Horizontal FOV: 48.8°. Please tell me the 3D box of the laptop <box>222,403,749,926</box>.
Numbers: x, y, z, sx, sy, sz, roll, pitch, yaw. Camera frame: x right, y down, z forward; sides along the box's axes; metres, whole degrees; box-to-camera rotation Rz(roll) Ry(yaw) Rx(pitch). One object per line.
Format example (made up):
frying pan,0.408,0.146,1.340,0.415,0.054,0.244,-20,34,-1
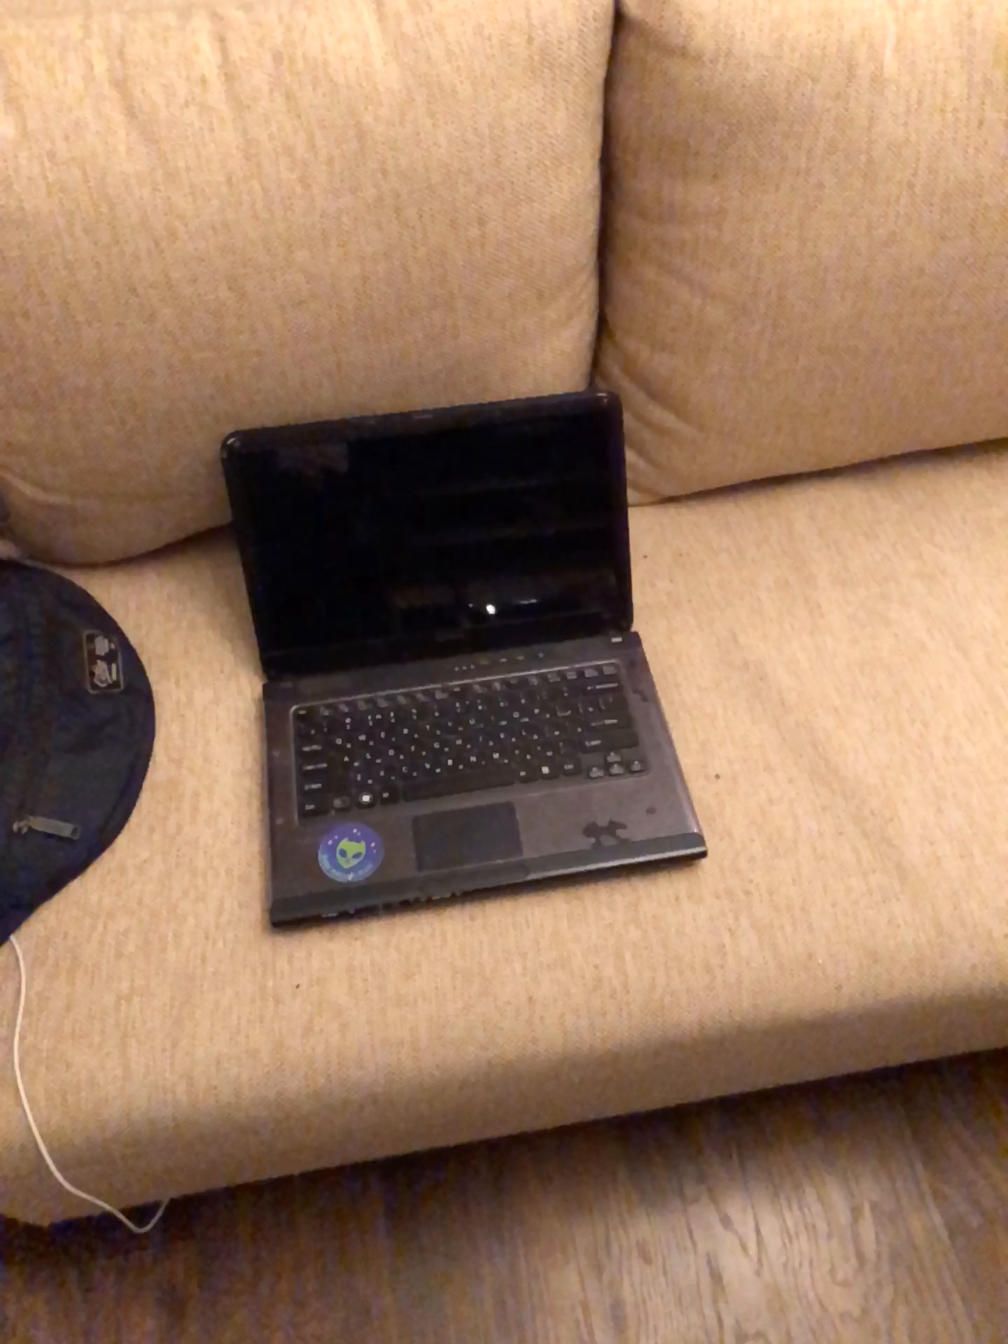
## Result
laptop,-0.036,-0.018,0.895,0.338,0.174,0.350,-8,54,-6
